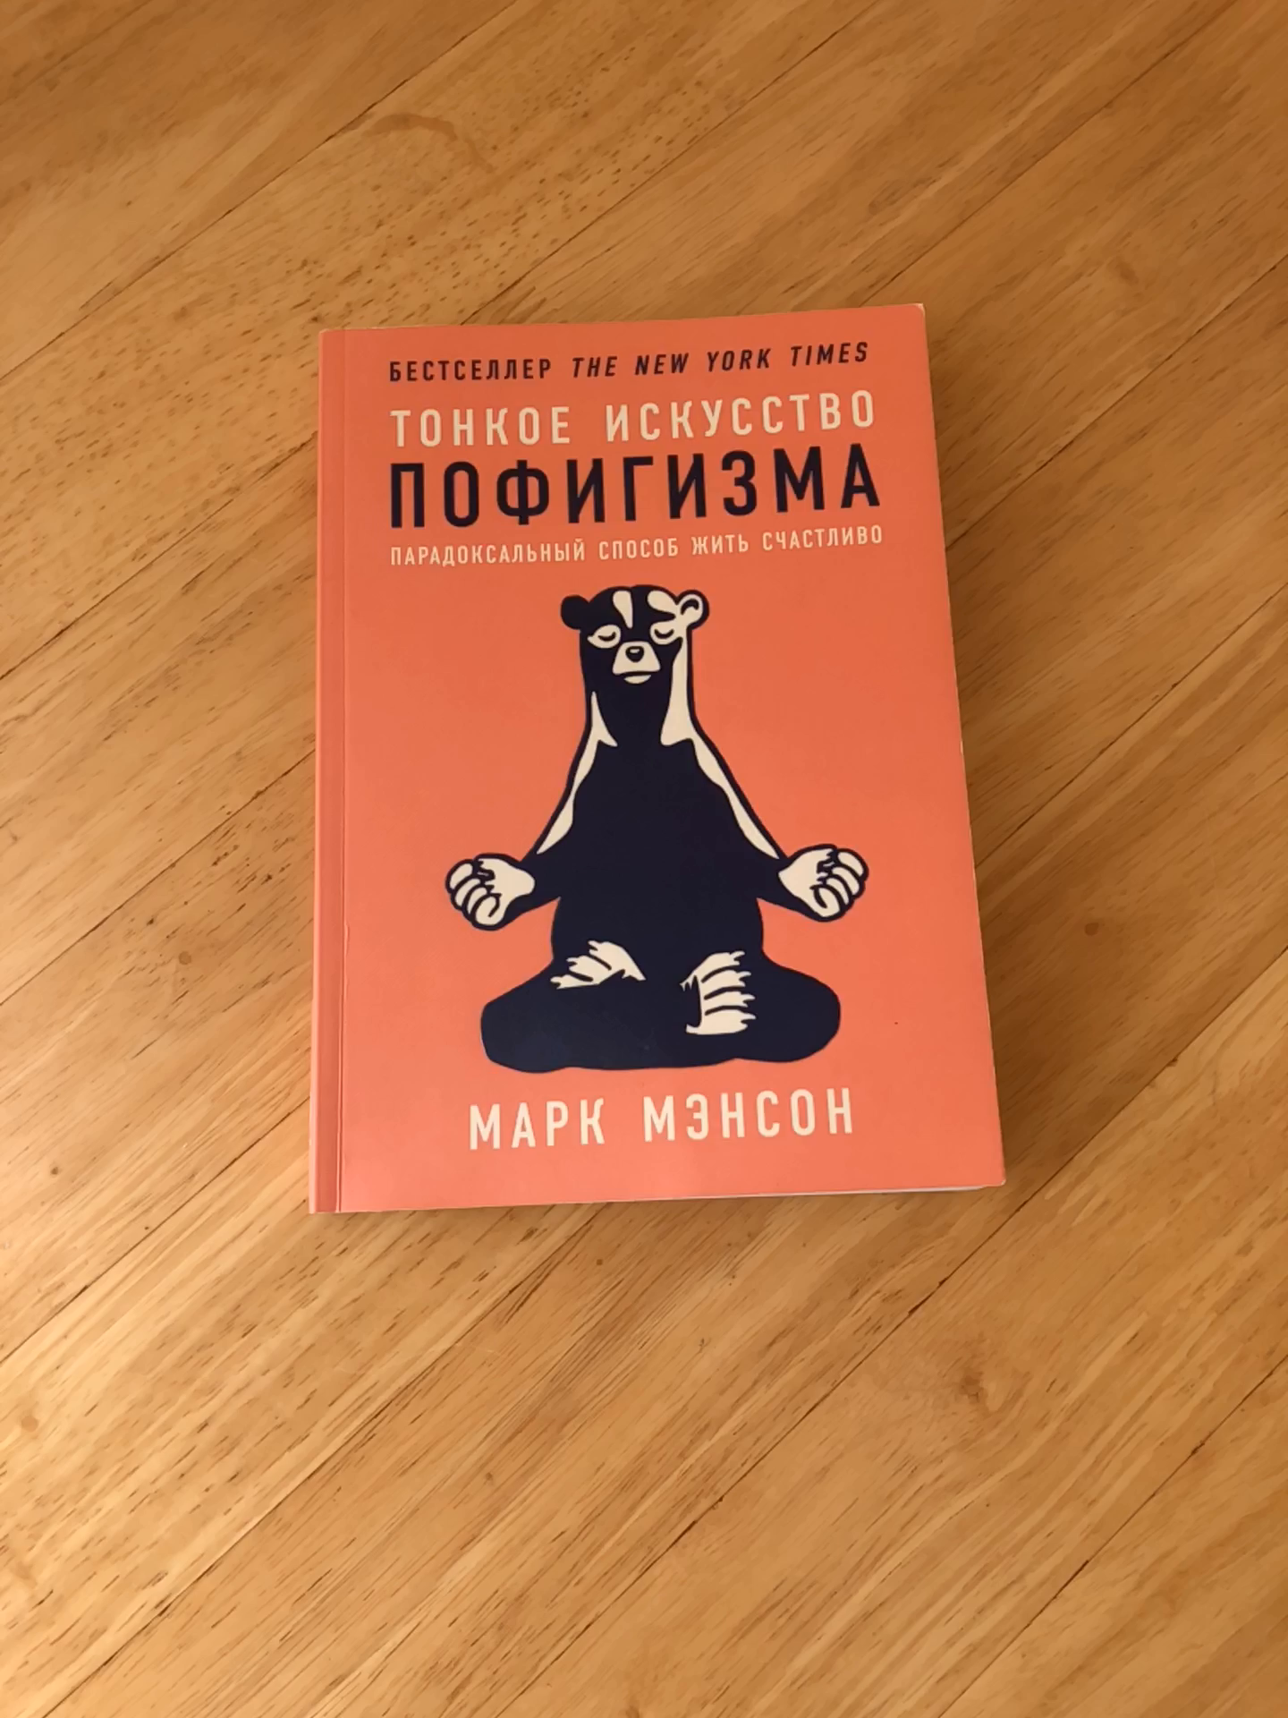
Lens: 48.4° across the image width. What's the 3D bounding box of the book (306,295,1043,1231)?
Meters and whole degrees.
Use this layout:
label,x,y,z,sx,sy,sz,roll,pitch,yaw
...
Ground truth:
label,x,y,z,sx,sy,sz,roll,pitch,yaw
book,0.001,-0.024,0.315,0.143,0.033,0.197,-2,78,-2
